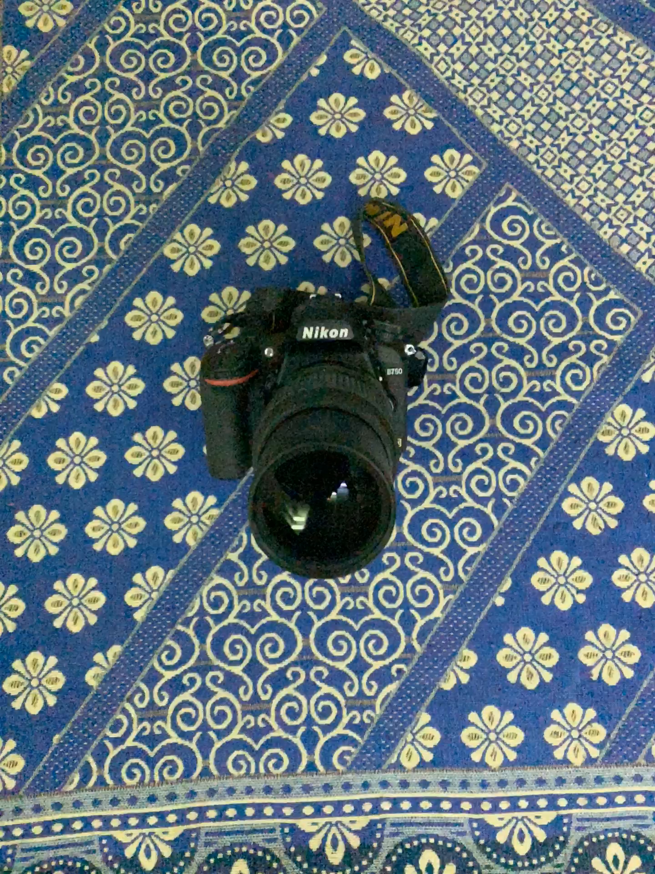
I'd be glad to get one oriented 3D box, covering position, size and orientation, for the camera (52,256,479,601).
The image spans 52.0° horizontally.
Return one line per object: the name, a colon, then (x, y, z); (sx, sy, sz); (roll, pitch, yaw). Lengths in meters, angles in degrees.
camera: (-0.022, -0.014, 0.354); (0.160, 0.191, 0.130); (-1, 98, 0)
